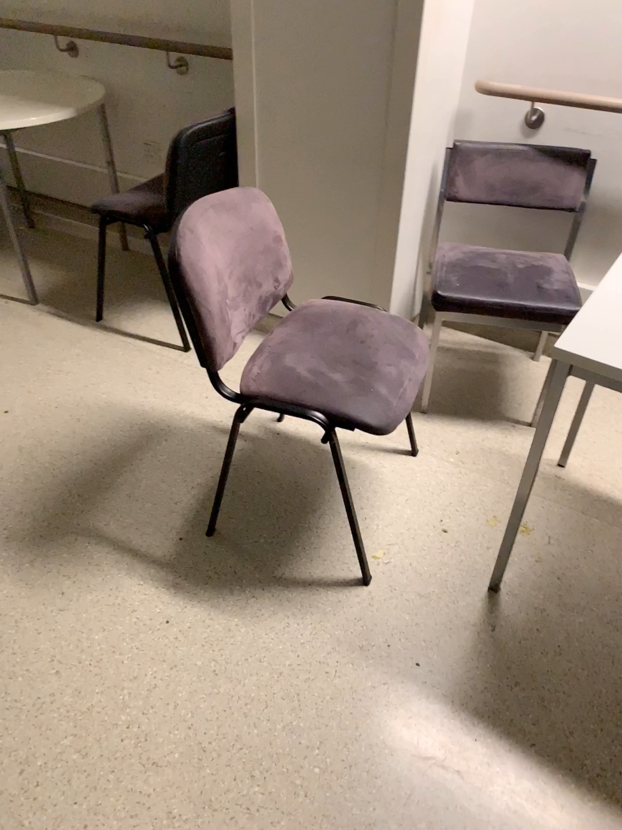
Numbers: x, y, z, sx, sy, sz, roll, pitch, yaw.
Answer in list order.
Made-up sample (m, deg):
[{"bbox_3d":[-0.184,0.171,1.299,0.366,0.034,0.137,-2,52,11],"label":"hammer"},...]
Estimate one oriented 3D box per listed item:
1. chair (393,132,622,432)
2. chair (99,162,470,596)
[{"bbox_3d":[0.571,-0.434,2.022,0.500,0.723,0.565,7,38,7],"label":"chair"},{"bbox_3d":[-0.022,-0.115,1.555,0.601,0.753,0.605,14,39,15],"label":"chair"}]
